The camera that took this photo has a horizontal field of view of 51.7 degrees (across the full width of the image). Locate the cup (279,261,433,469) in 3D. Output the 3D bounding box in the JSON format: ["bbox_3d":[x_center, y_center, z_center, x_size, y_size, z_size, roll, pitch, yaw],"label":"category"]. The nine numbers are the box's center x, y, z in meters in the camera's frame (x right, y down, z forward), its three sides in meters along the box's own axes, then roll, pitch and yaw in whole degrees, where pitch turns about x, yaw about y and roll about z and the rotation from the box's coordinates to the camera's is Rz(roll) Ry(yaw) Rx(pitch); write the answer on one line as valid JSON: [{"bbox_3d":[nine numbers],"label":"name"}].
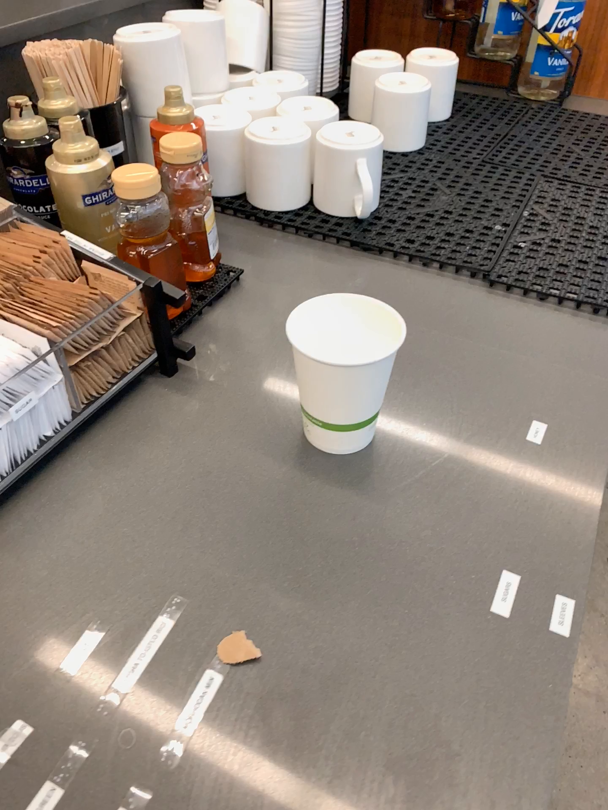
[{"bbox_3d":[0.035,-0.031,0.485,0.080,0.119,0.080,0,43,0],"label":"cup"}]
